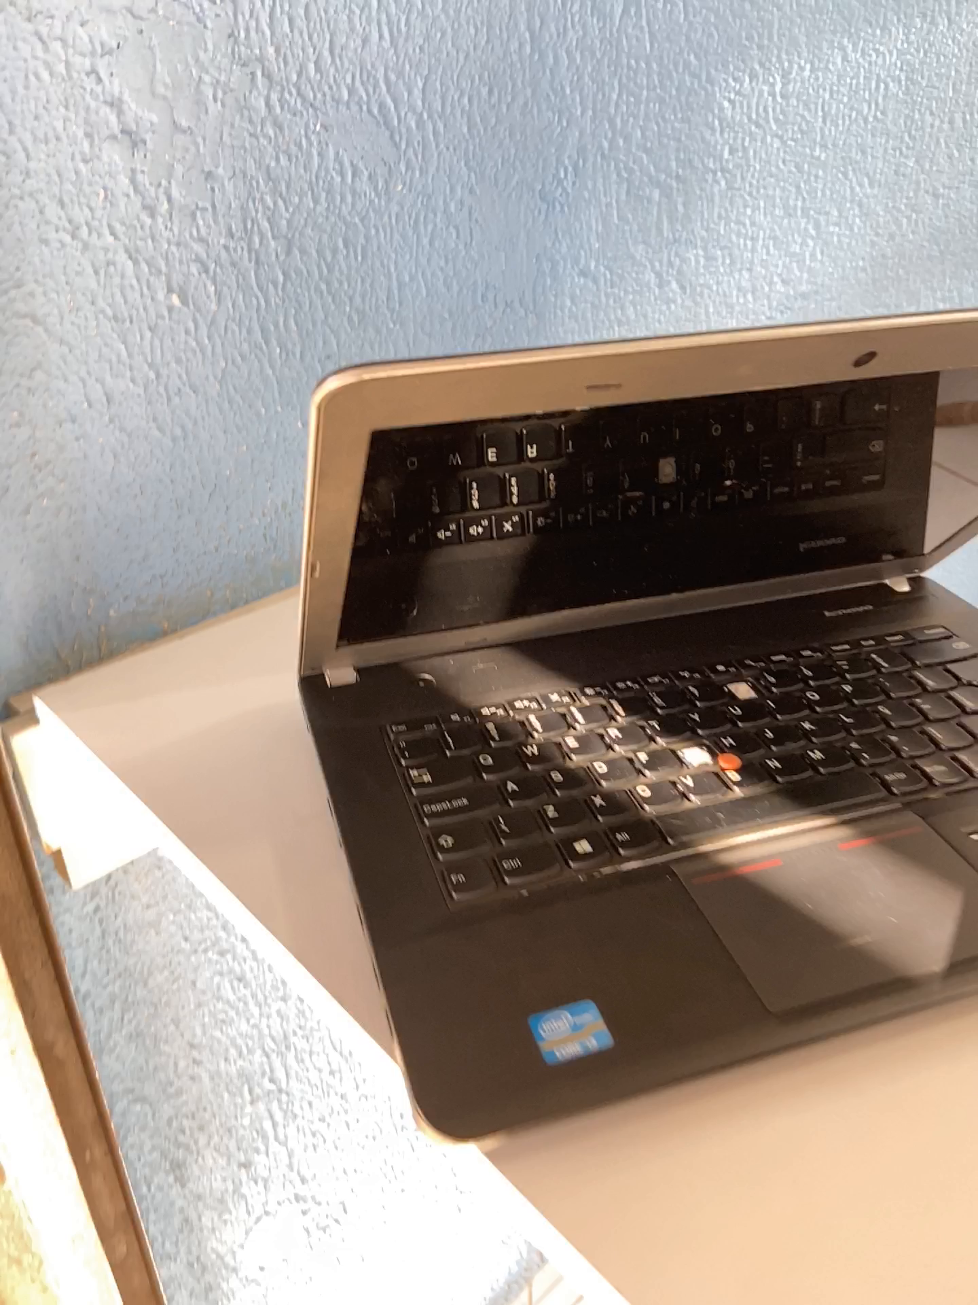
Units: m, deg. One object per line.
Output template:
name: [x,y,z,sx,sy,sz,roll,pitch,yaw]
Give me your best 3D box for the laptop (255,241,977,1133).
laptop: [0.106,-0.032,0.359,0.331,0.165,0.231,-10,31,-15]
